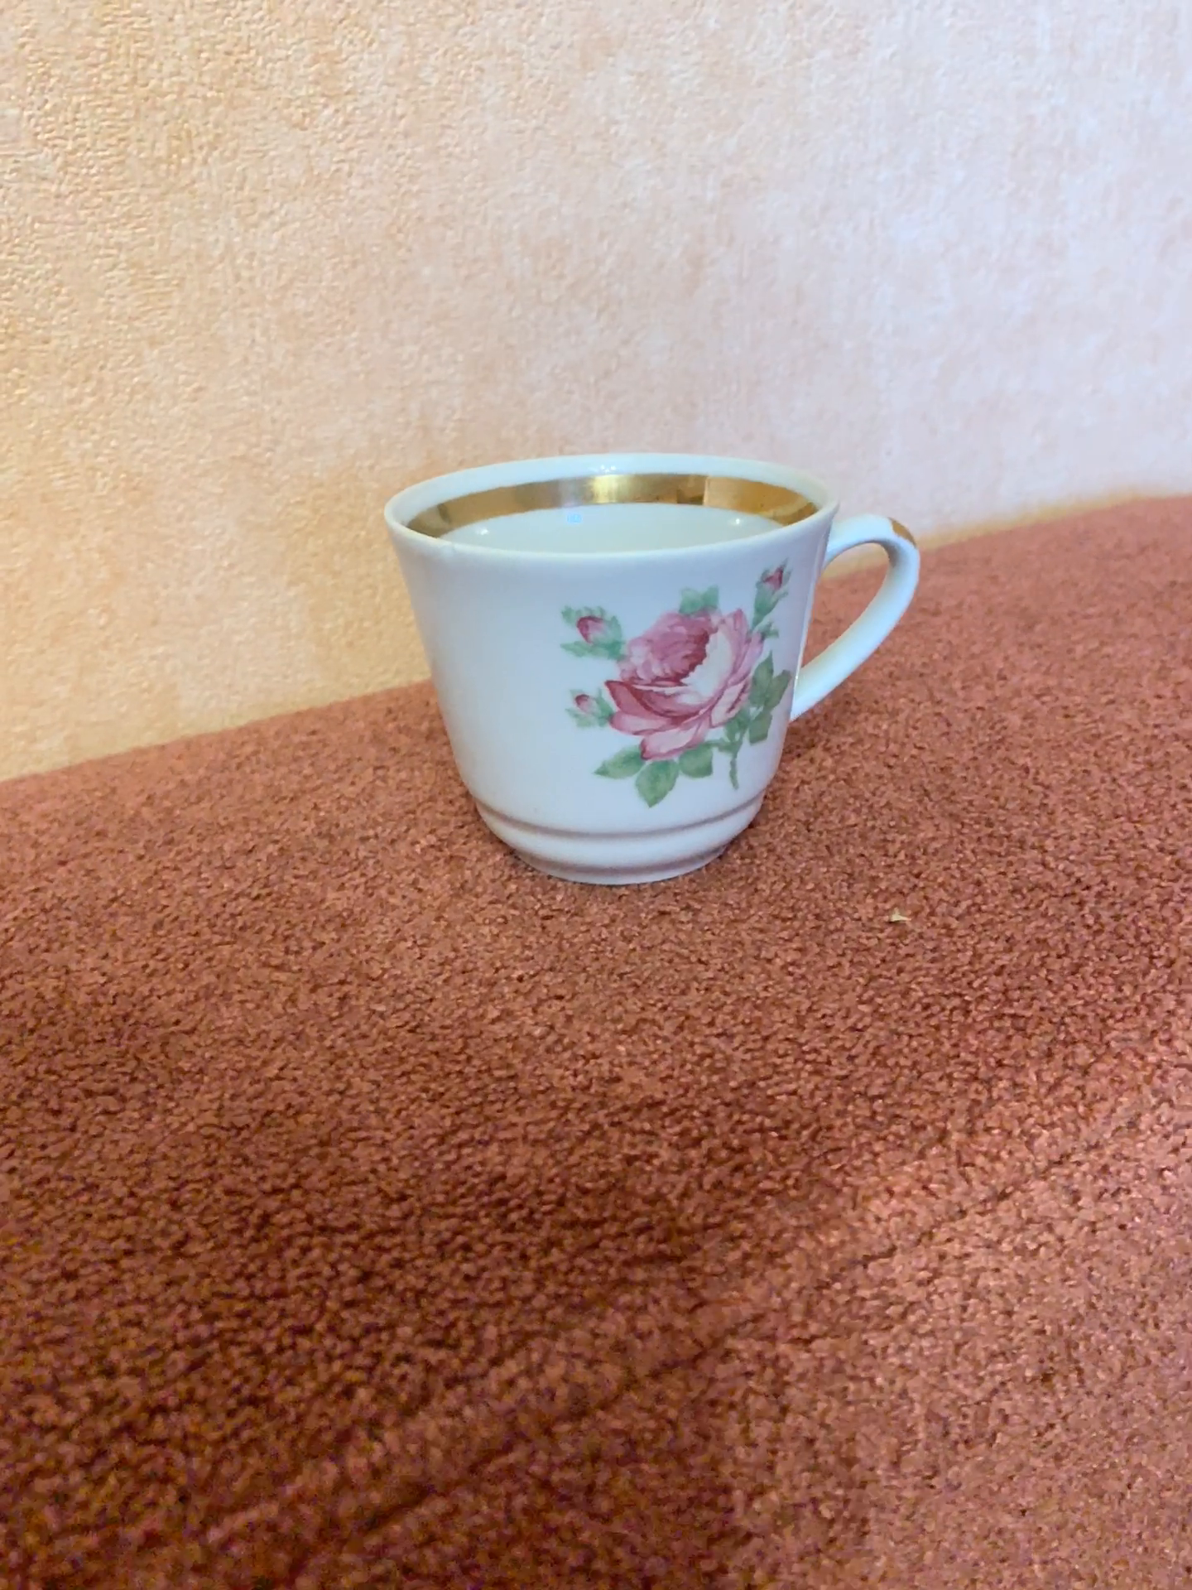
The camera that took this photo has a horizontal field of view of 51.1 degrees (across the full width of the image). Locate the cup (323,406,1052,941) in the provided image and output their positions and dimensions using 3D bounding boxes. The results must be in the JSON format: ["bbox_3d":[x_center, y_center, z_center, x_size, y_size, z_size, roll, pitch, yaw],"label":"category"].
[{"bbox_3d":[0.009,-0.025,0.190,0.085,0.047,0.067,-11,29,-15],"label":"cup"}]
